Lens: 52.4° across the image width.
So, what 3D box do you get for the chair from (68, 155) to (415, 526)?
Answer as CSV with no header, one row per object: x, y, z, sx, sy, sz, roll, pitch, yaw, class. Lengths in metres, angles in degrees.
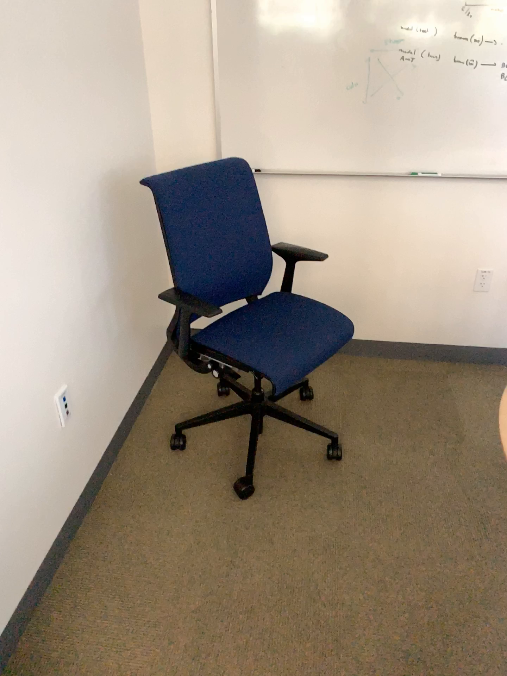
-0.059,-0.092,2.051,0.984,0.994,0.742,26,39,38,chair
